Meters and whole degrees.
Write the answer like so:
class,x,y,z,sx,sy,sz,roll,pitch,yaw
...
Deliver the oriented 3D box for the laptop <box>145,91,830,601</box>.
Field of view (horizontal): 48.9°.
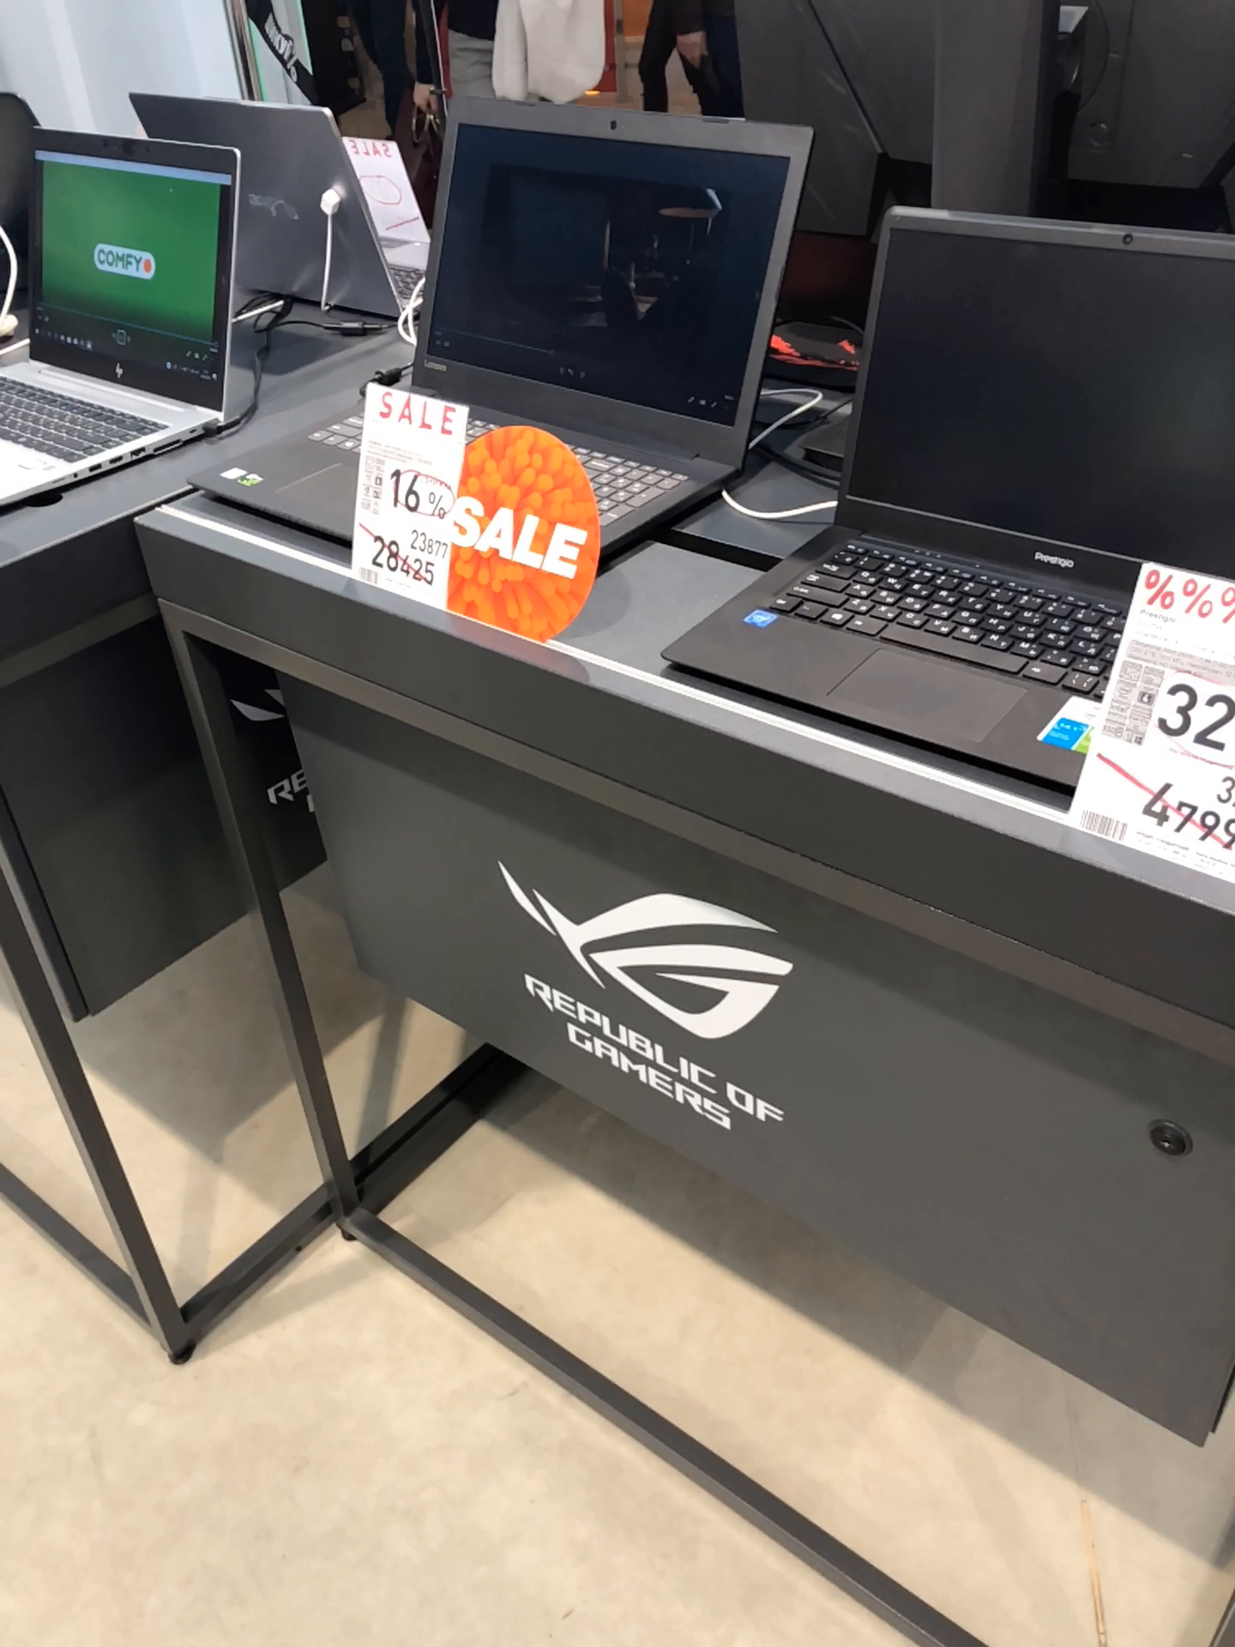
class,x,y,z,sx,sy,sz,roll,pitch,yaw
laptop,-0.092,-0.401,1.071,0.383,0.235,0.335,24,46,33
